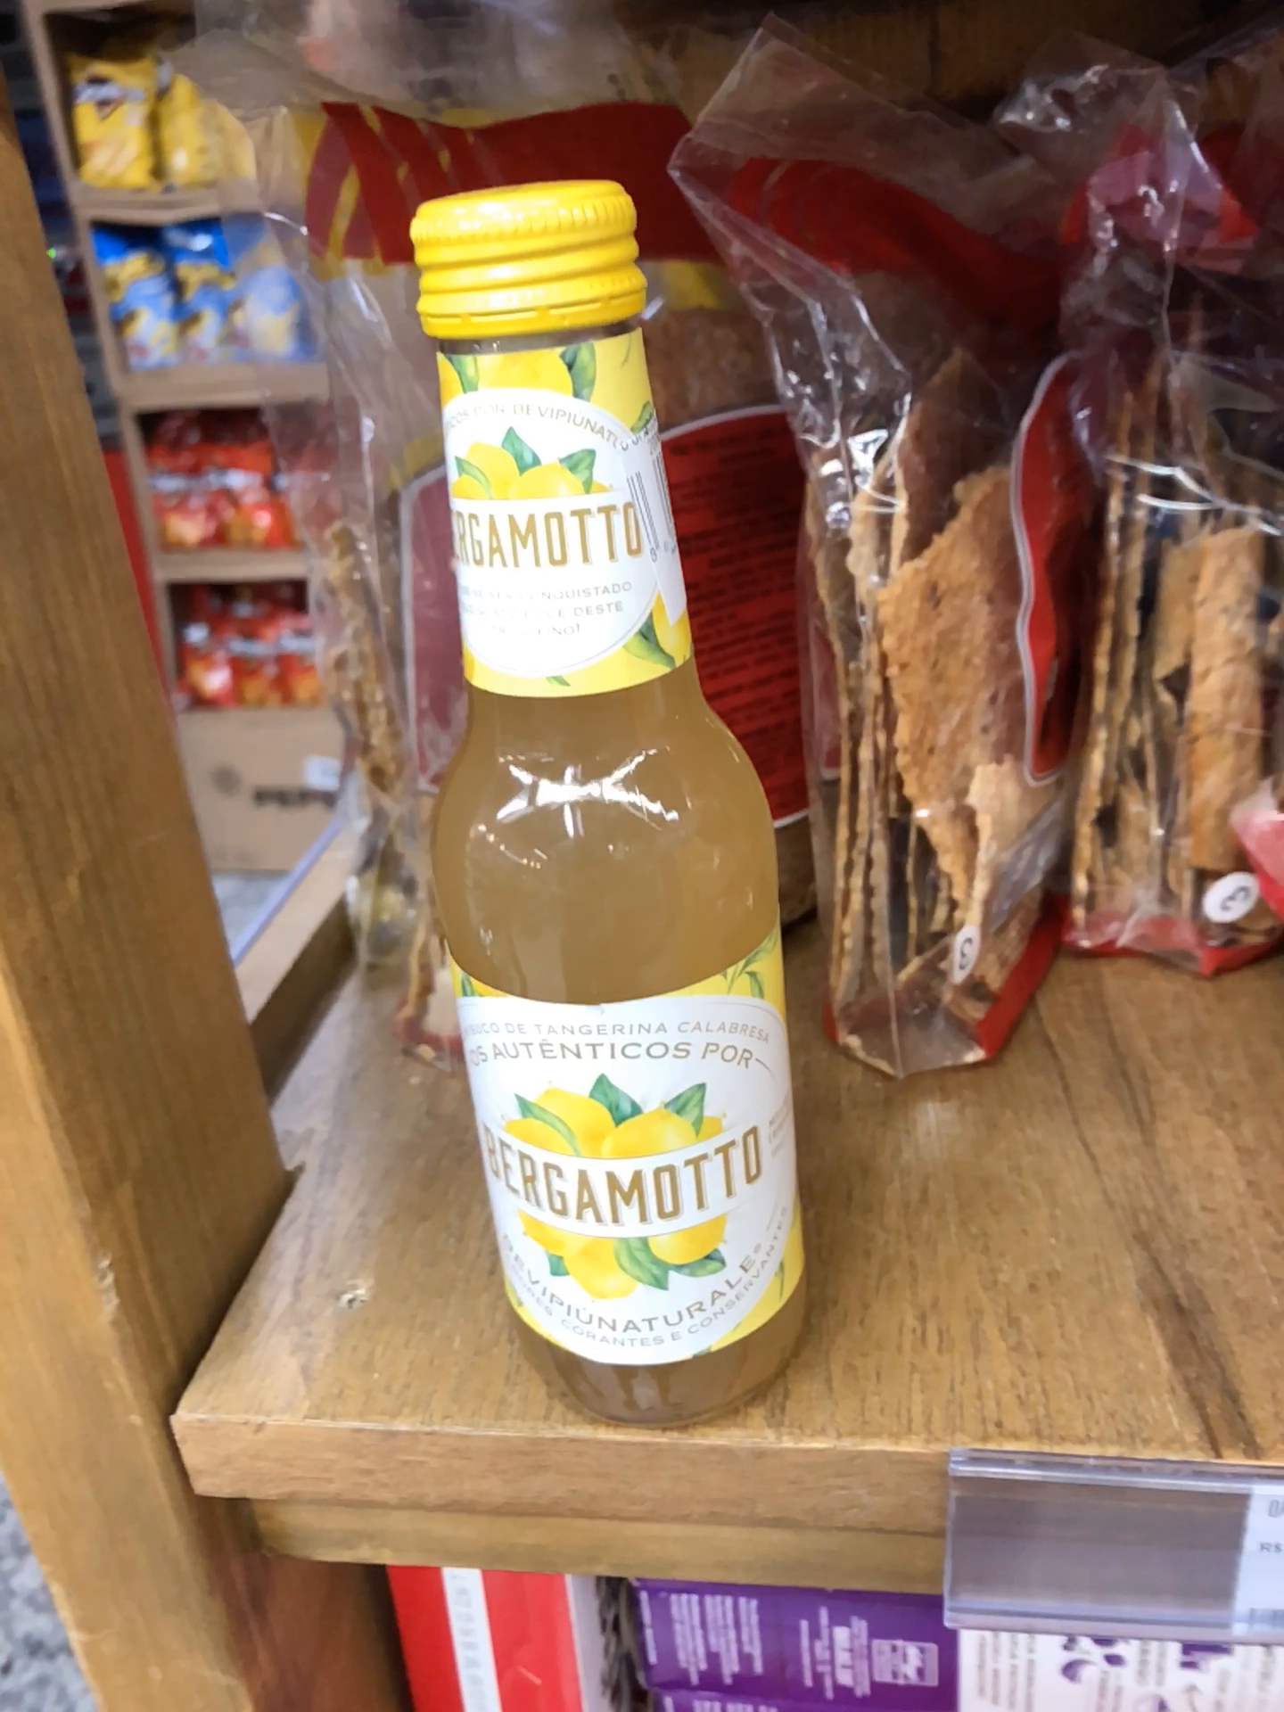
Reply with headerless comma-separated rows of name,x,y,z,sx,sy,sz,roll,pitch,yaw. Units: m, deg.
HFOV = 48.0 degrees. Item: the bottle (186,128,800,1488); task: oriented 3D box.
bottle,-0.009,0.001,0.224,0.060,0.199,0.060,-4,25,2
